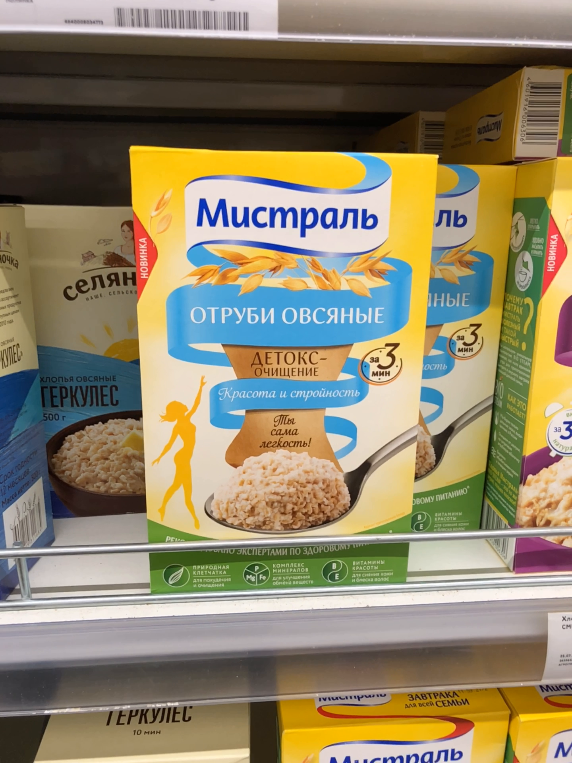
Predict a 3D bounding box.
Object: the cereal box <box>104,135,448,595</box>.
[{"bbox_3d":[-0.005,-0.005,0.309,0.140,0.209,0.050,-1,15,-3],"label":"cereal box"}]
